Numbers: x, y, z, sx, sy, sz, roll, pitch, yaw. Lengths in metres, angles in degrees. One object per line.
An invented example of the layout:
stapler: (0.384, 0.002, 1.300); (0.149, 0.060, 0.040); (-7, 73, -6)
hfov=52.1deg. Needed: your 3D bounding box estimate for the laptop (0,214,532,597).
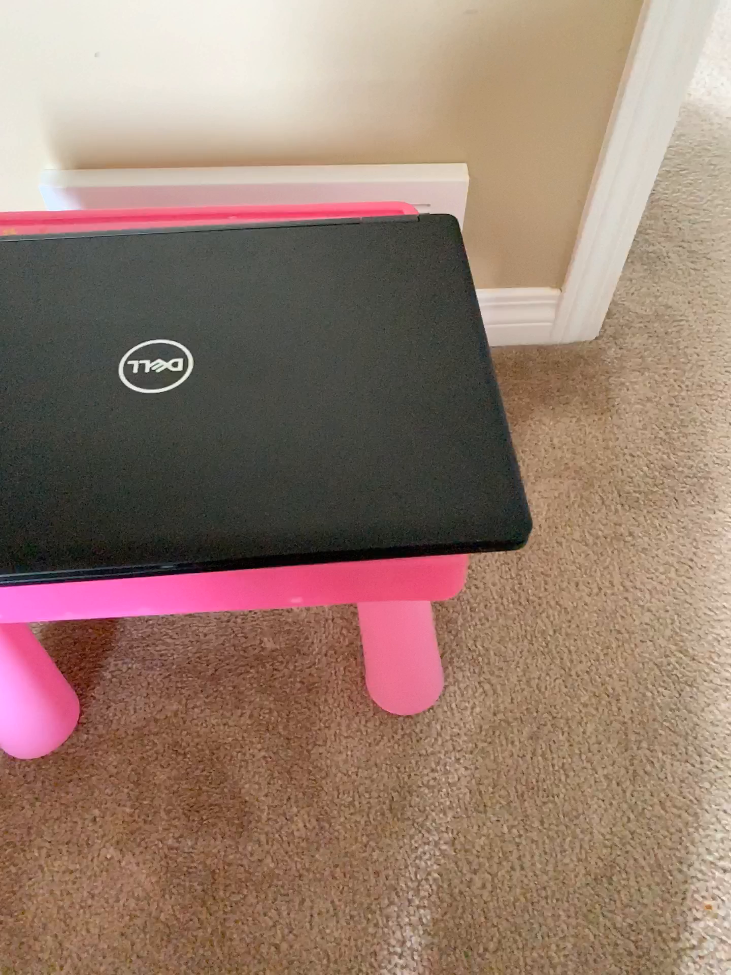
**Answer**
laptop: (-0.115, -0.064, 0.410); (0.366, 0.005, 0.241); (-4, 56, -3)
